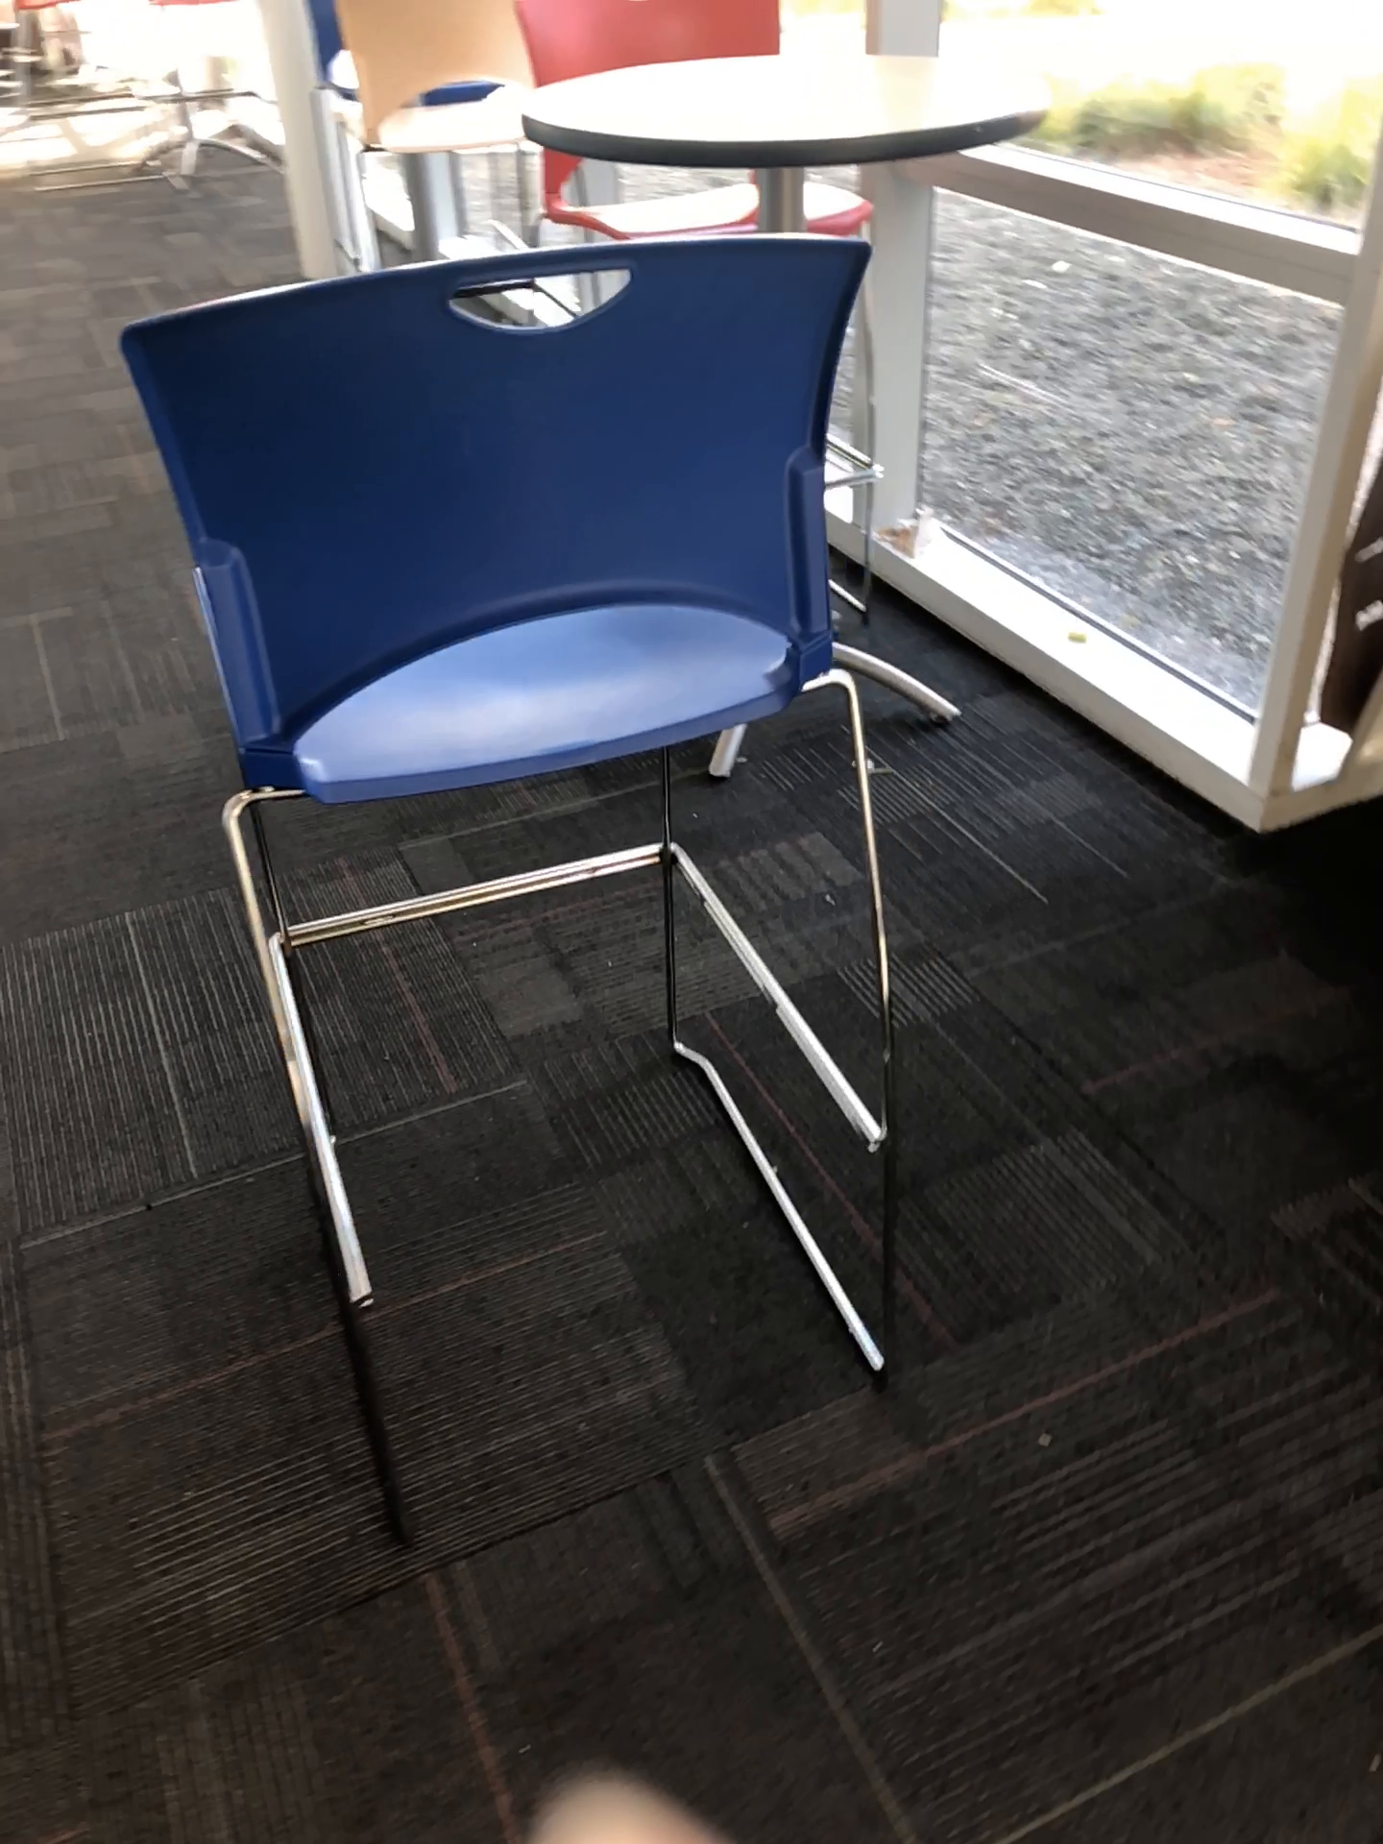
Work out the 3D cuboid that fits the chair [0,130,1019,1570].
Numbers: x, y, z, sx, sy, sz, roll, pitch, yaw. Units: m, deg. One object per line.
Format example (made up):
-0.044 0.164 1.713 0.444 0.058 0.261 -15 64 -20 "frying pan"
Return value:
-0.154 -0.079 1.308 0.550 0.965 0.613 -13 36 -14 "chair"
